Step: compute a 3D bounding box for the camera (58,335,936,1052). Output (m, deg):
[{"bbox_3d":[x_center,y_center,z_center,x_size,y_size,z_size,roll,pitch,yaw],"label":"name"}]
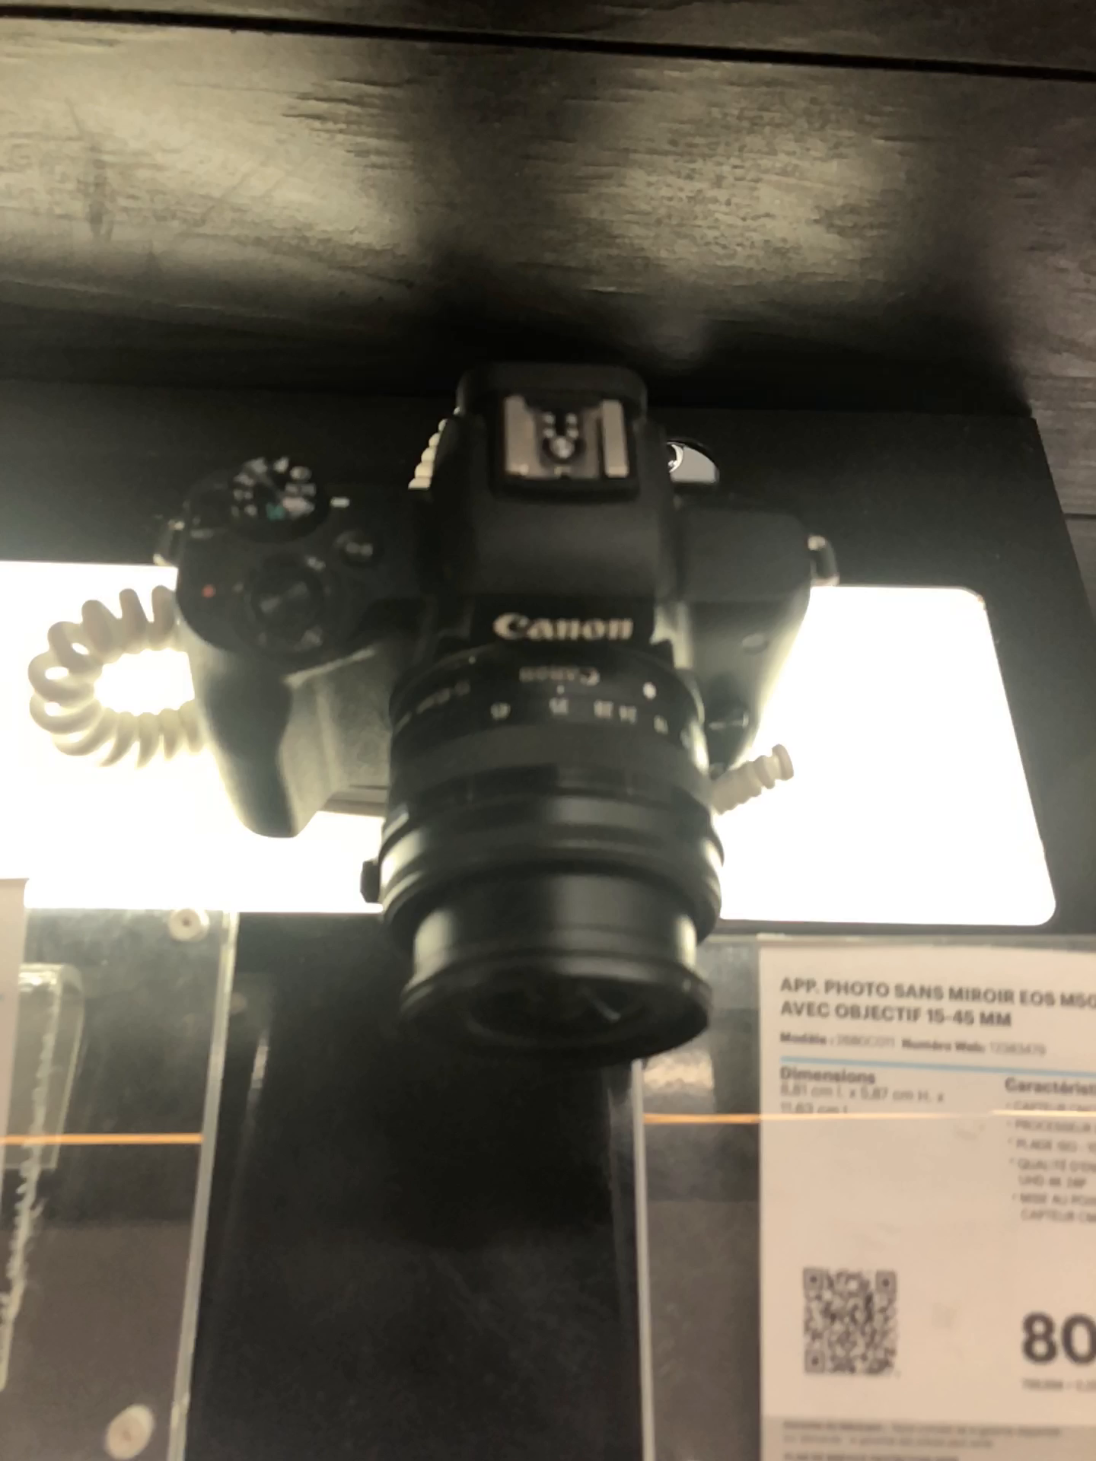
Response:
[{"bbox_3d":[-0.009,-0.003,0.228,0.119,0.089,0.101,1,56,-3],"label":"camera"}]
